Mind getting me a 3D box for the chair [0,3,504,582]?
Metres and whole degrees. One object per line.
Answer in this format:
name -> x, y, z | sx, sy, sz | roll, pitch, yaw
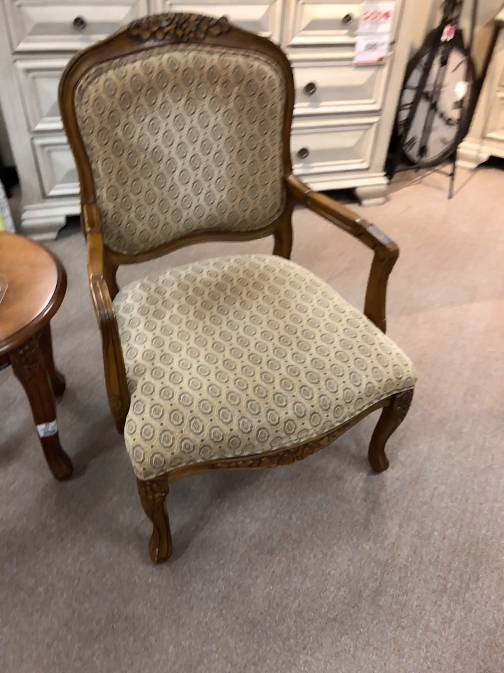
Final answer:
chair -> -0.096, -0.116, 1.349 | 0.781, 1.062, 0.704 | -15, 45, -20
